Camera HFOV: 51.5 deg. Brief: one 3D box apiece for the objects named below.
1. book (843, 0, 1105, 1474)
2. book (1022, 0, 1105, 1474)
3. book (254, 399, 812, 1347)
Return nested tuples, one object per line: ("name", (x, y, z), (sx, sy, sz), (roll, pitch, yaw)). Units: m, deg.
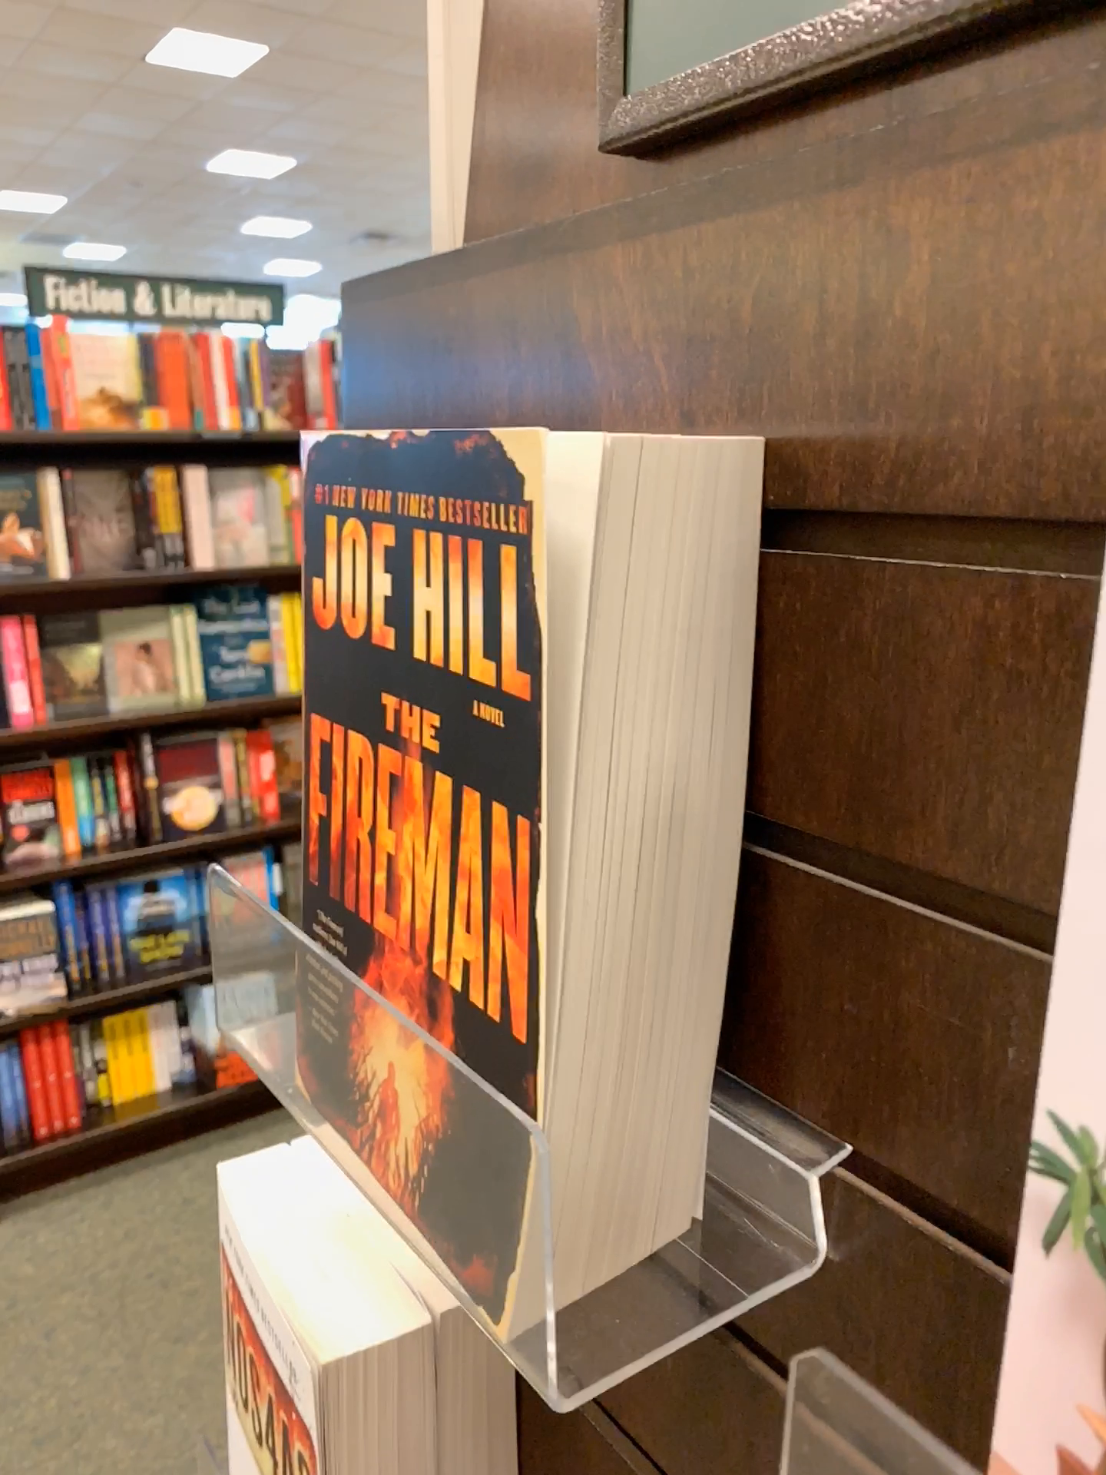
("book", (0.107, 0.055, 0.103), (0.026, 0.208, 0.188), (-2, 13, -25))
("book", (0.142, 0.052, 0.111), (0.026, 0.208, 0.188), (-2, 13, -25))
("book", (-0.019, 0.017, 0.303), (0.069, 0.194, 0.147), (-5, 13, -34))
